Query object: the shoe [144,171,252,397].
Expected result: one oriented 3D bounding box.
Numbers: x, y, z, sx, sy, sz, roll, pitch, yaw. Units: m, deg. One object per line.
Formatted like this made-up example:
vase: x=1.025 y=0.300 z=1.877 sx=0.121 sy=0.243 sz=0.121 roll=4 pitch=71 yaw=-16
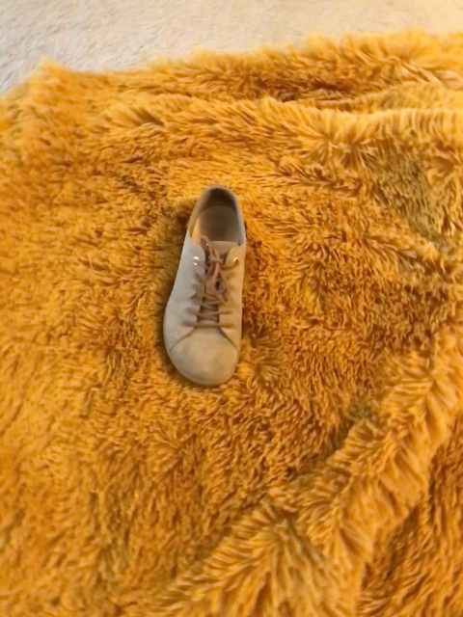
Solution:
shoe: x=-0.031 y=-0.036 z=0.580 sx=0.100 sy=0.070 sz=0.259 roll=3 pitch=62 yaw=0
